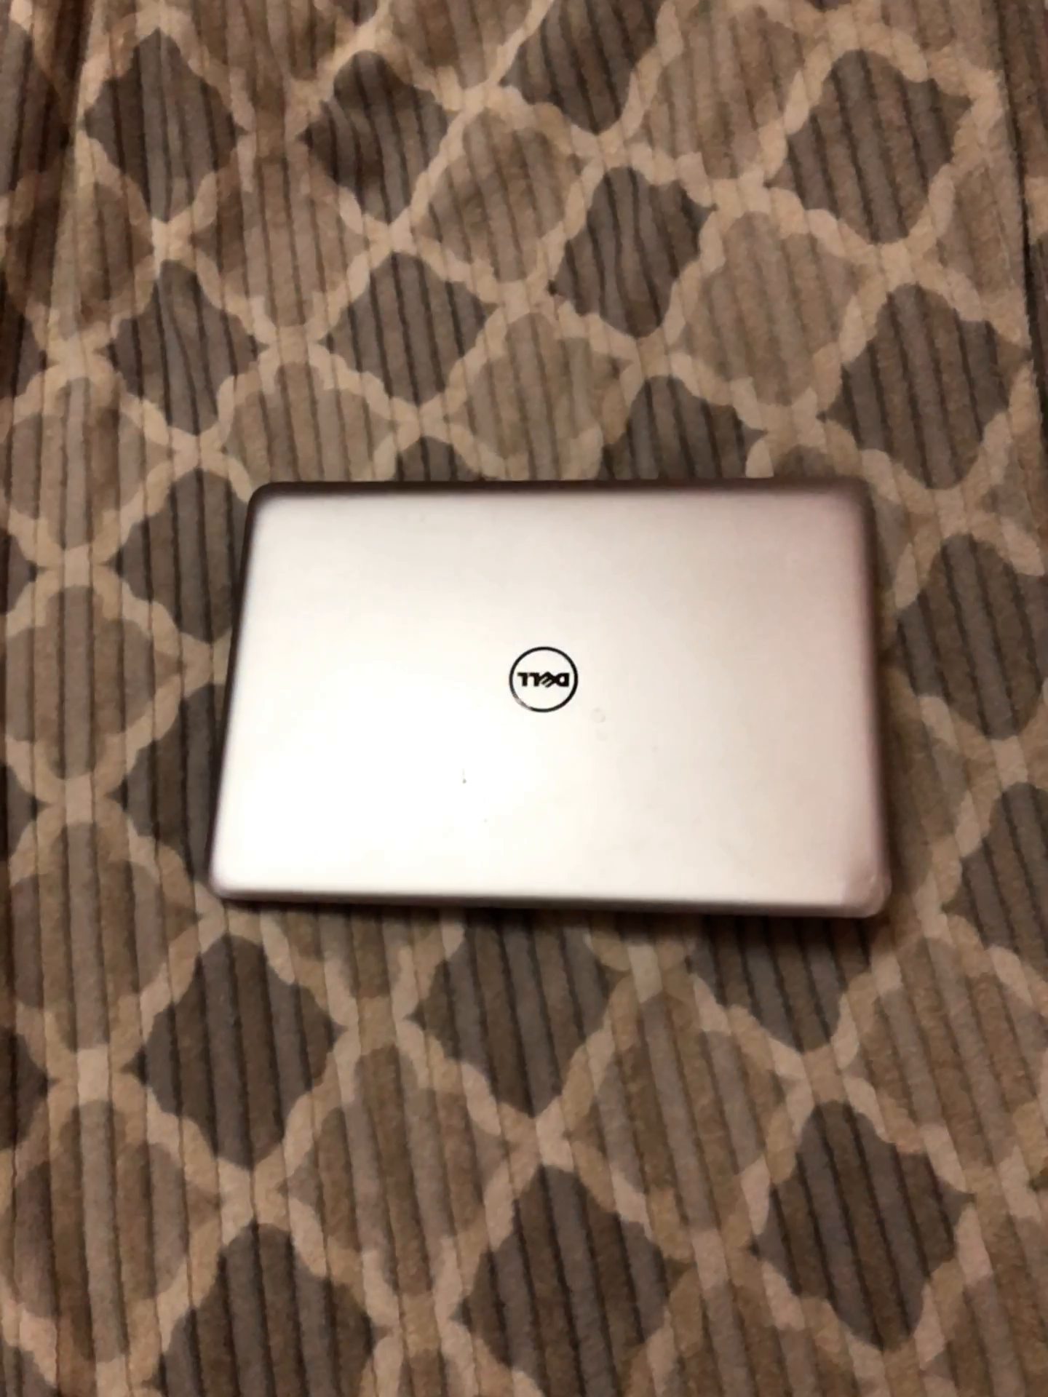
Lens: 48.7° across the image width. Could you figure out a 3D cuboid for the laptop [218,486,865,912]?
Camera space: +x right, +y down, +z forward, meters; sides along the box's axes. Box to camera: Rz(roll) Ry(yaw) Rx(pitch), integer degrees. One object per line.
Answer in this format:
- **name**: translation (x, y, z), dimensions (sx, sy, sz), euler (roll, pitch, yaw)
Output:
- **laptop**: translation (0.009, -0.007, 0.679), dimensions (0.359, 0.007, 0.252), euler (0, 74, 5)
